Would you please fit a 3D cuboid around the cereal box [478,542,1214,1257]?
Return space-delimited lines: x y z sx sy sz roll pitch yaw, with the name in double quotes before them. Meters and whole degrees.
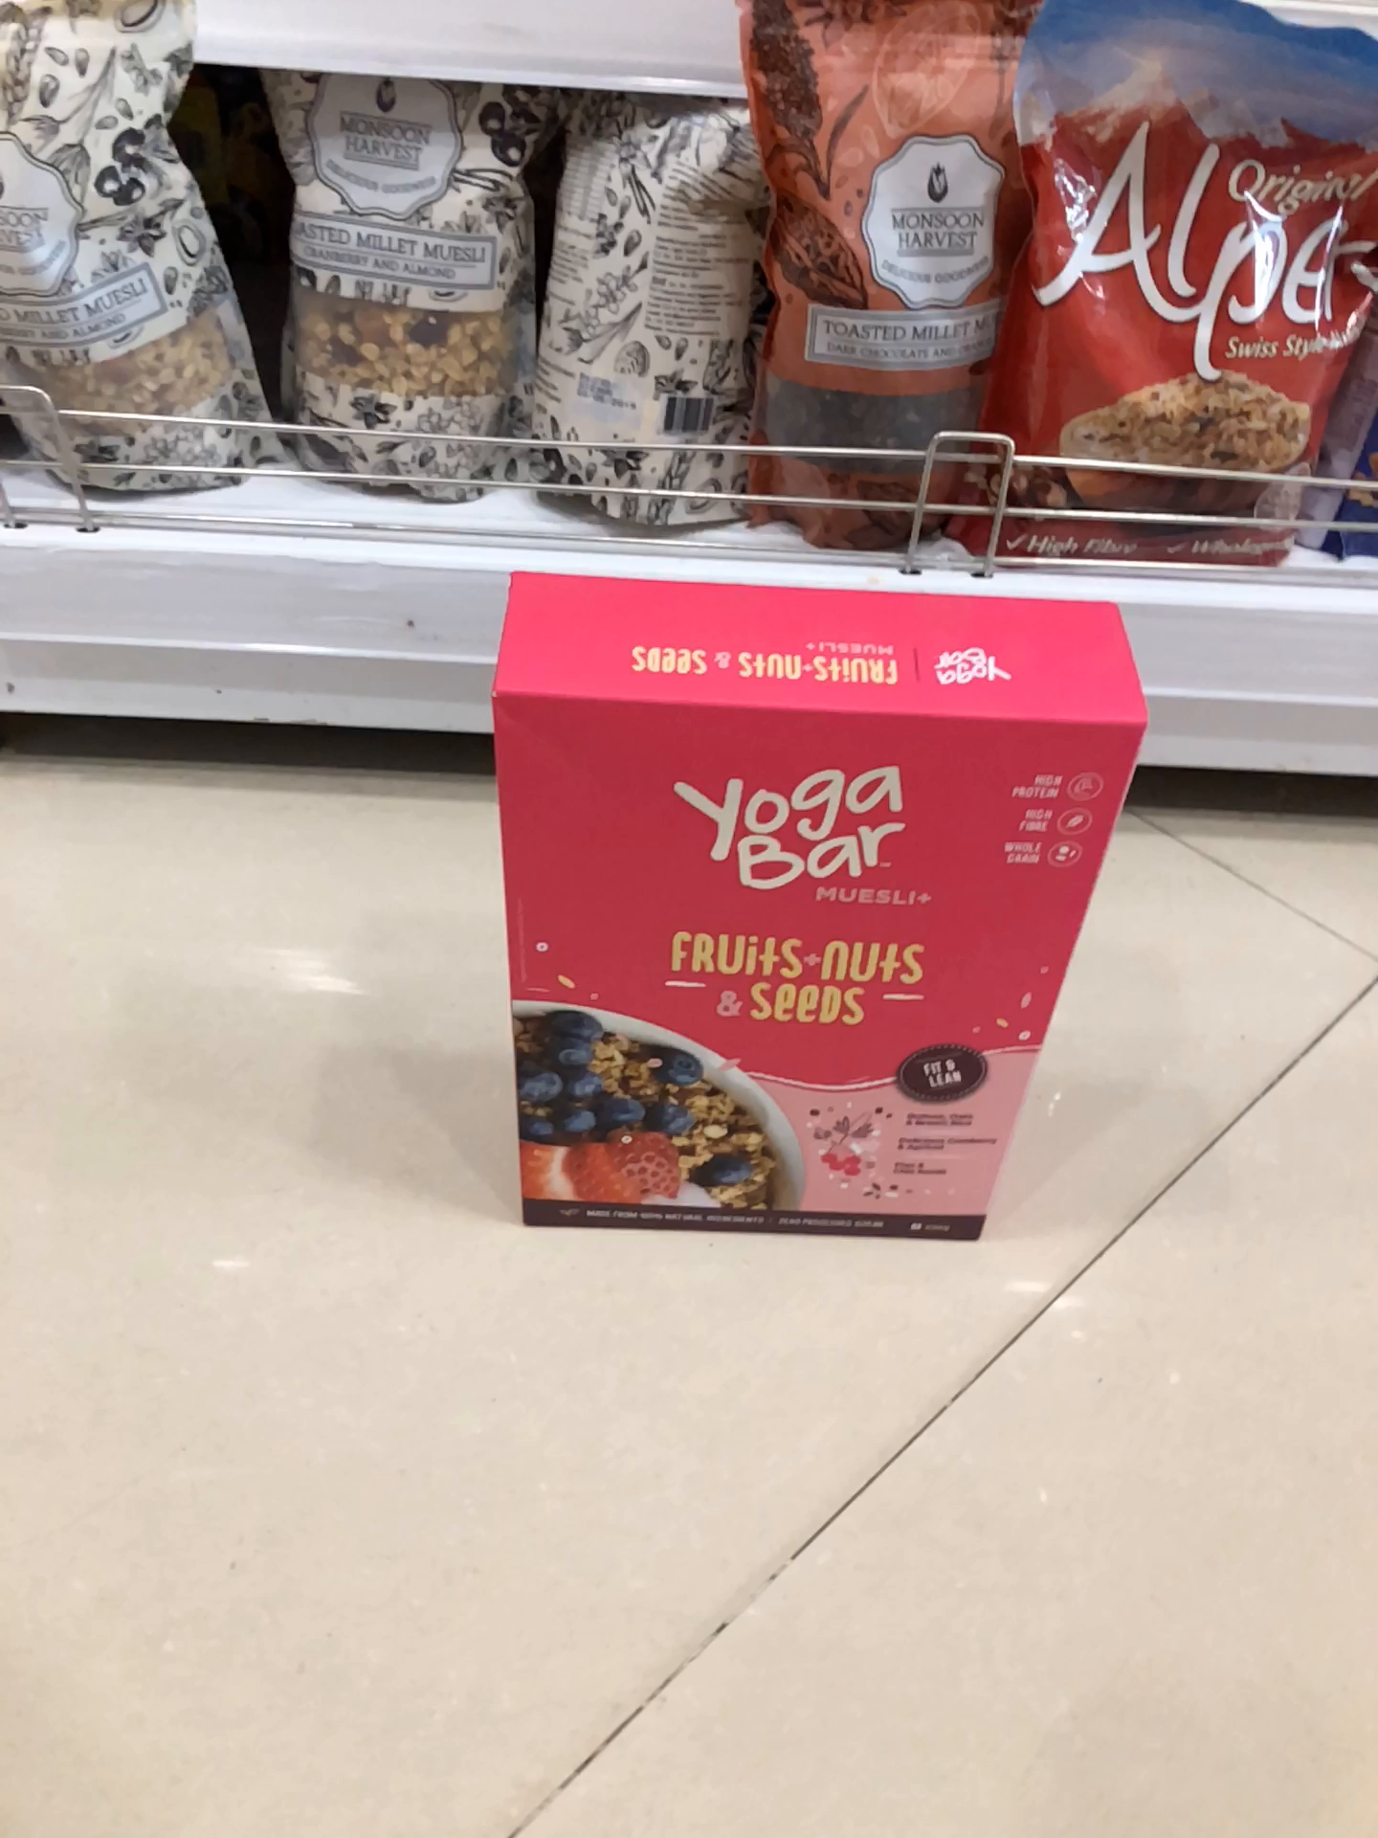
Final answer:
"cereal box" 0.033 0.008 0.452 0.170 0.228 0.060 2 44 -1
